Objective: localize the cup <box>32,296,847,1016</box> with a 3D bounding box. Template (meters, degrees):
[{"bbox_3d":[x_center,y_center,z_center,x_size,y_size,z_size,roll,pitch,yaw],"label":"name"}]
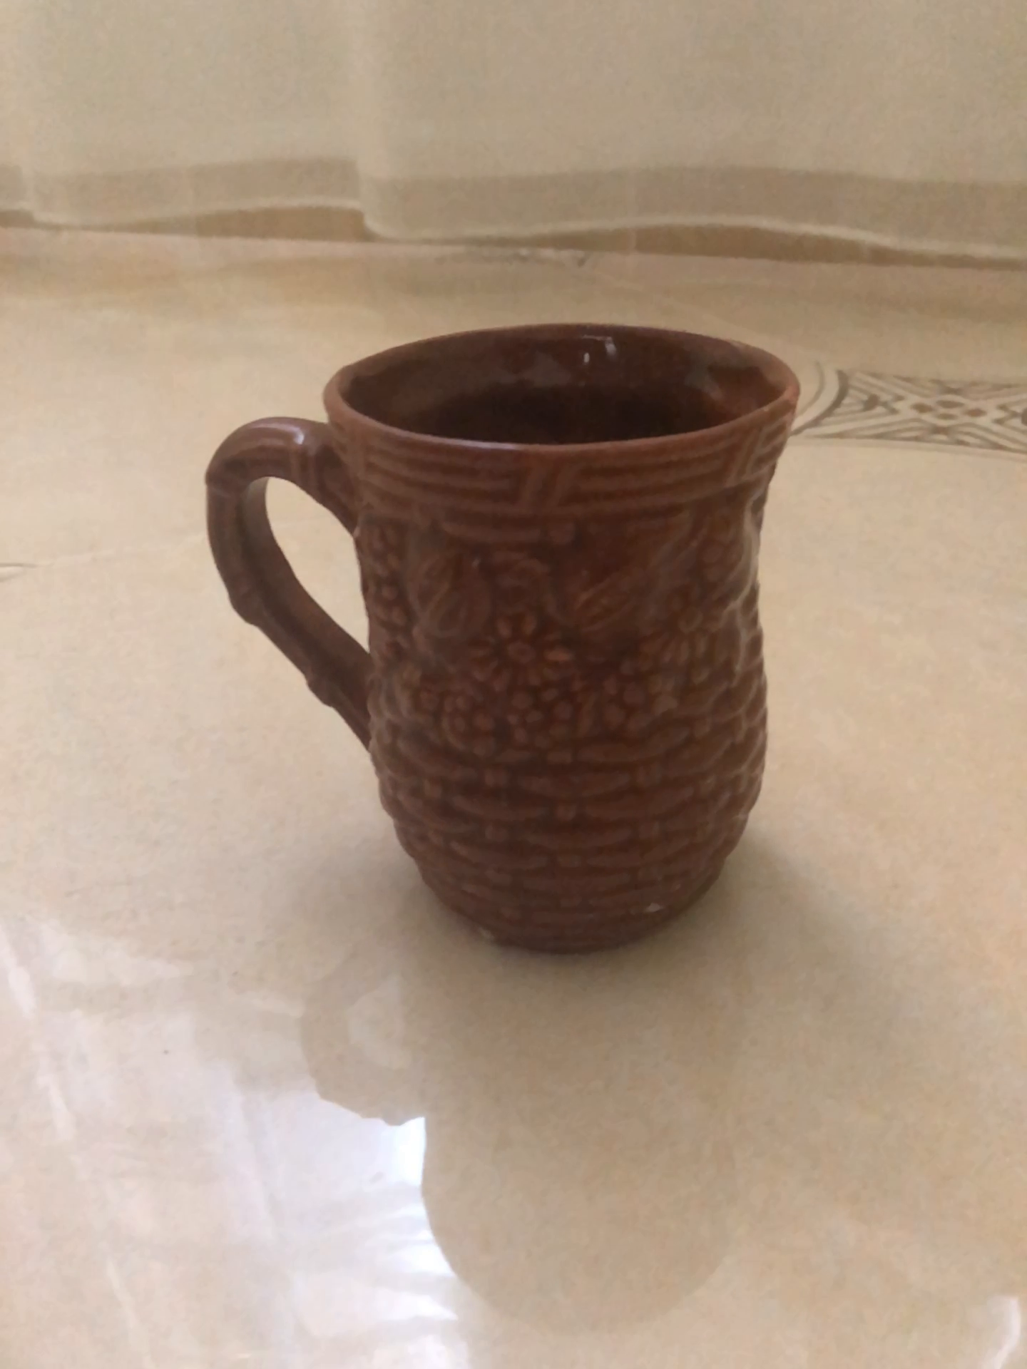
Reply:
[{"bbox_3d":[-0.009,-0.015,0.197,0.104,0.081,0.073,14,33,27],"label":"cup"}]
